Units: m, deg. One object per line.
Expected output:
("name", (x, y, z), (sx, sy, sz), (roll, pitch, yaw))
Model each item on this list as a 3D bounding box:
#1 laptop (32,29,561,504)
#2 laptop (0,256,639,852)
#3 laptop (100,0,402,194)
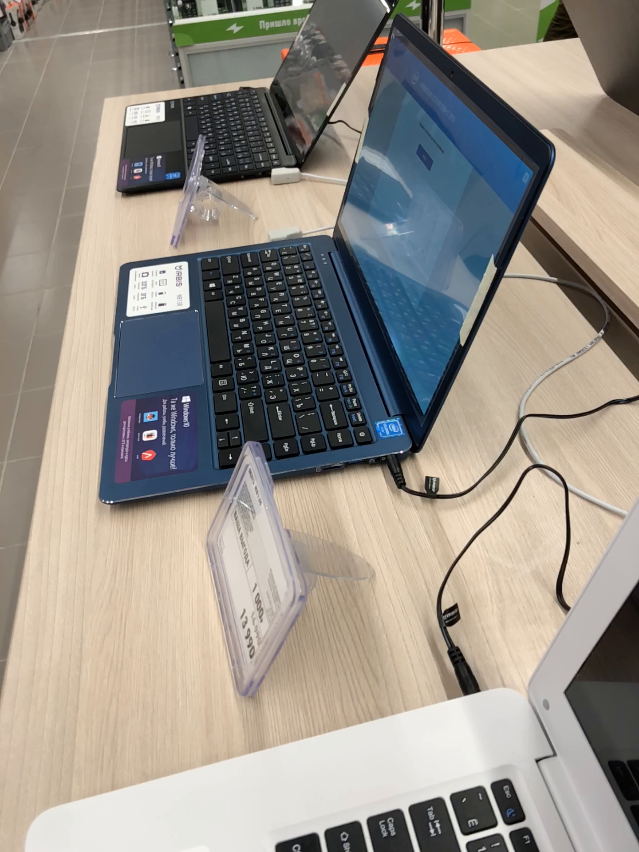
("laptop", (-0.024, -0.142, 0.530), (0.270, 0.185, 0.311), (-9, 42, -4))
("laptop", (0.044, 0.157, 0.143), (0.288, 0.217, 0.312), (-11, 41, -5))
("laptop", (-0.091, -0.465, 0.910), (0.327, 0.155, 0.302), (-11, 43, -5))
